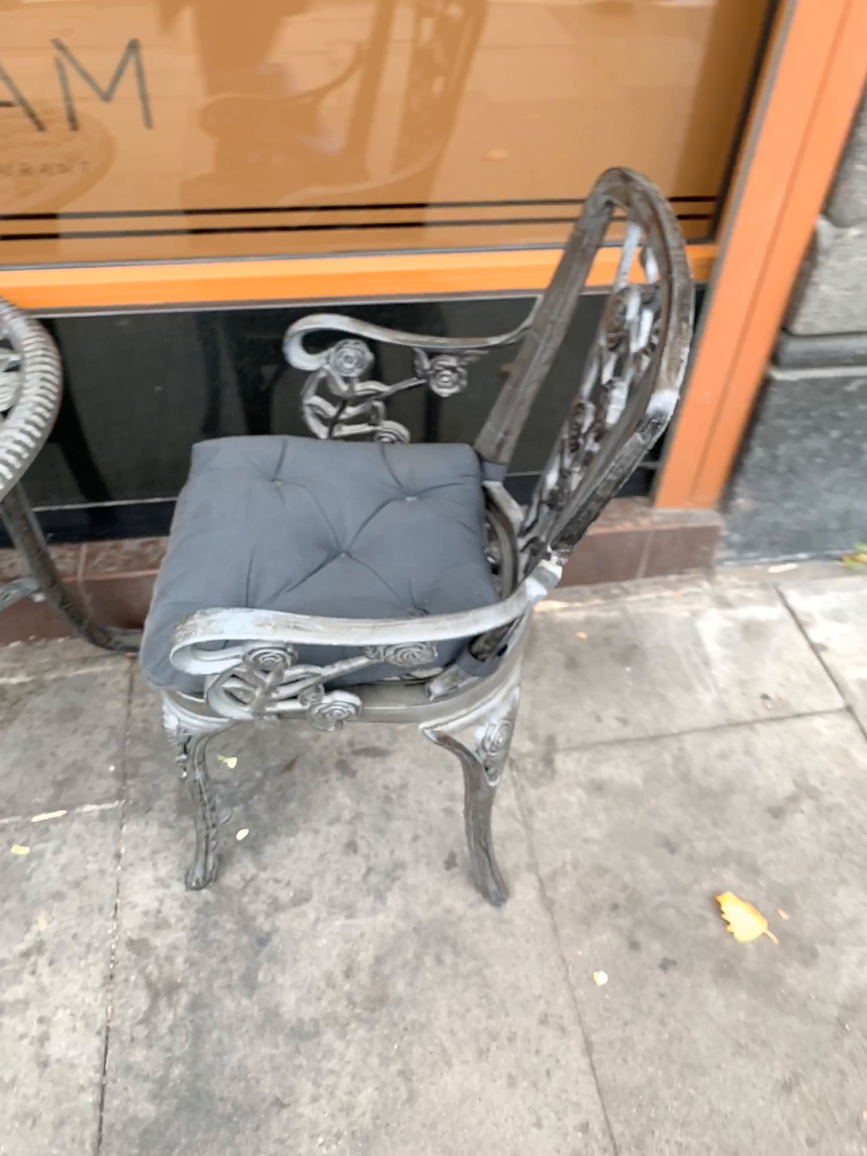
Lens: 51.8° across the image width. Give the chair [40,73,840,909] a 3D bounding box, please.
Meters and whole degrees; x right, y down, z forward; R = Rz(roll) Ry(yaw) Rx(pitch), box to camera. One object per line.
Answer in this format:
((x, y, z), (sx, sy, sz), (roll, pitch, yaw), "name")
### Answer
((-0.042, -0.034, 1.082), (0.550, 0.852, 0.495), (3, 45, -6), "chair")
